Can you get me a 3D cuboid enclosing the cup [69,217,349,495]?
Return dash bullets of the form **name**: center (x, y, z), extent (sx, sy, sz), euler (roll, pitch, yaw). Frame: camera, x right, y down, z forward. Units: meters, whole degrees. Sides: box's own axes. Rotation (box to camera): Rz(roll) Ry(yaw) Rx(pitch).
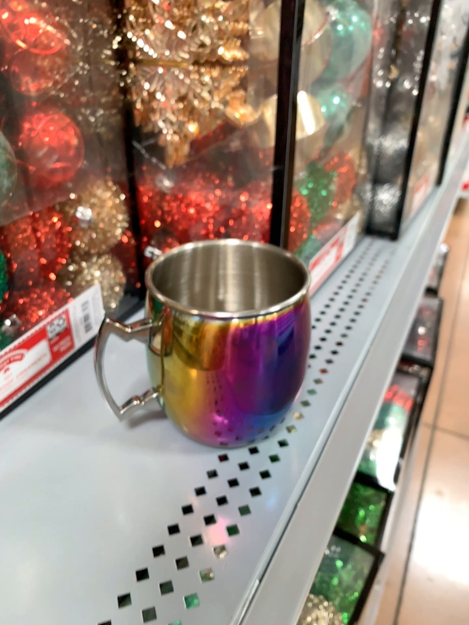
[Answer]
- **cup**: center (-0.016, 0.014, 0.267), extent (0.110, 0.090, 0.087), euler (-16, 35, -26)
